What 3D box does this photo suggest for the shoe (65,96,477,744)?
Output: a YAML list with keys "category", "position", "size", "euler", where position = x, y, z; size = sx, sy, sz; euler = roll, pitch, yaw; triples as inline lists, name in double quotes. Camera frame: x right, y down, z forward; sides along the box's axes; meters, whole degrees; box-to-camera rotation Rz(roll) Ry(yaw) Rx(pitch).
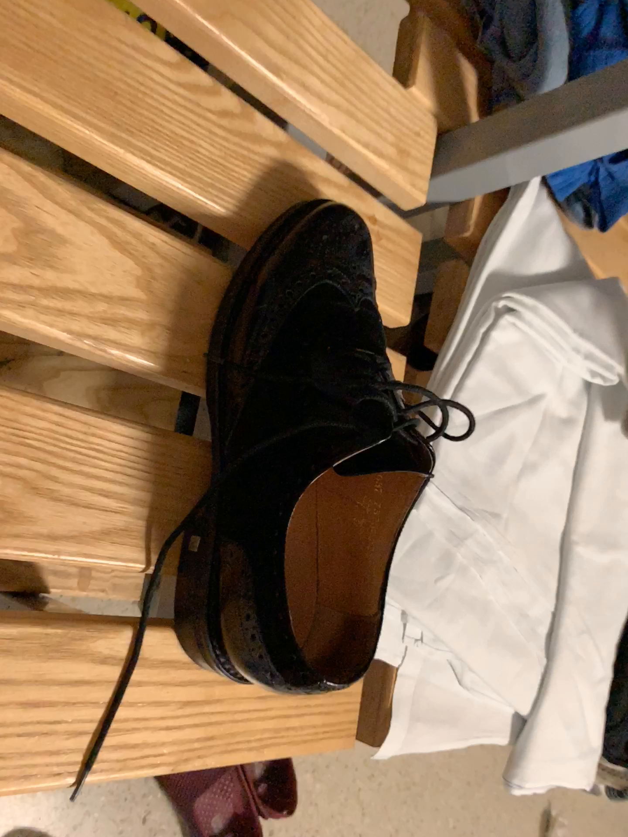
- category: "shoe"
  position: [-0.011, 0.002, 0.302]
  size: [0.100, 0.095, 0.251]
  euler: [26, 71, -40]
